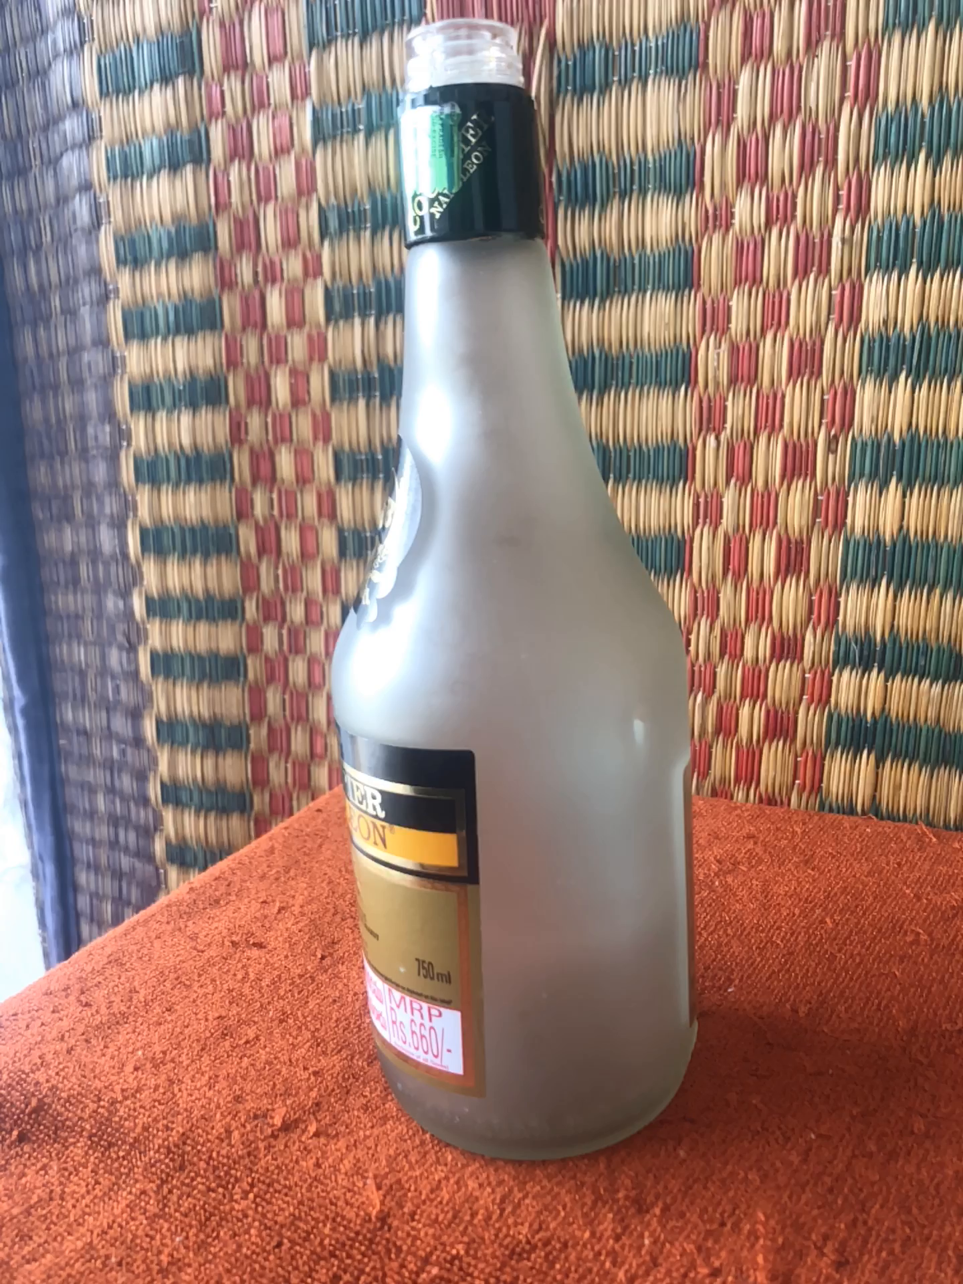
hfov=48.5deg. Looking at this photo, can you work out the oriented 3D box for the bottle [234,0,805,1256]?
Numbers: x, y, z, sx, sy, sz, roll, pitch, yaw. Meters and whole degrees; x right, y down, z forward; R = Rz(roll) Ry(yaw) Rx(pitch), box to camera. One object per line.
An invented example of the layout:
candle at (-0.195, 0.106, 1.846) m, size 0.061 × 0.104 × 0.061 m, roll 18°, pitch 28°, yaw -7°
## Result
bottle at (0.009, -0.007, 0.247) m, size 0.090 × 0.249 × 0.100 m, roll -7°, pitch 16°, yaw -8°
